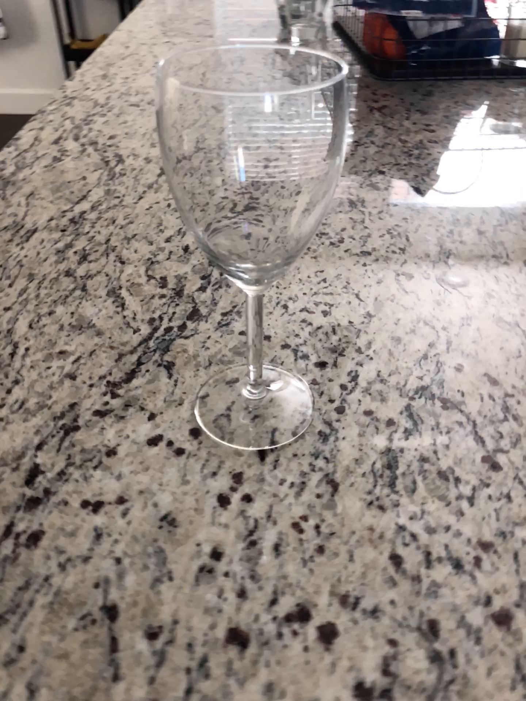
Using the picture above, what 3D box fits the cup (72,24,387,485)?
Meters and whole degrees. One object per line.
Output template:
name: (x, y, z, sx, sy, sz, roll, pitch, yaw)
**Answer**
cup: (-0.009, -0.039, 0.259, 0.080, 0.169, 0.081, 0, 39, 0)
